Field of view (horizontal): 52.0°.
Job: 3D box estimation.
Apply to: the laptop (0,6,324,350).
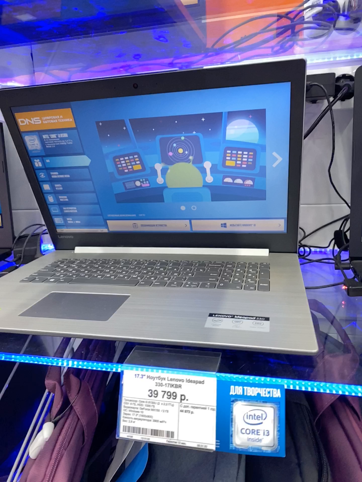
[{"bbox_3d":[-0.066,-0.071,0.462,0.417,0.256,0.280,0,14,14],"label":"laptop"}]
